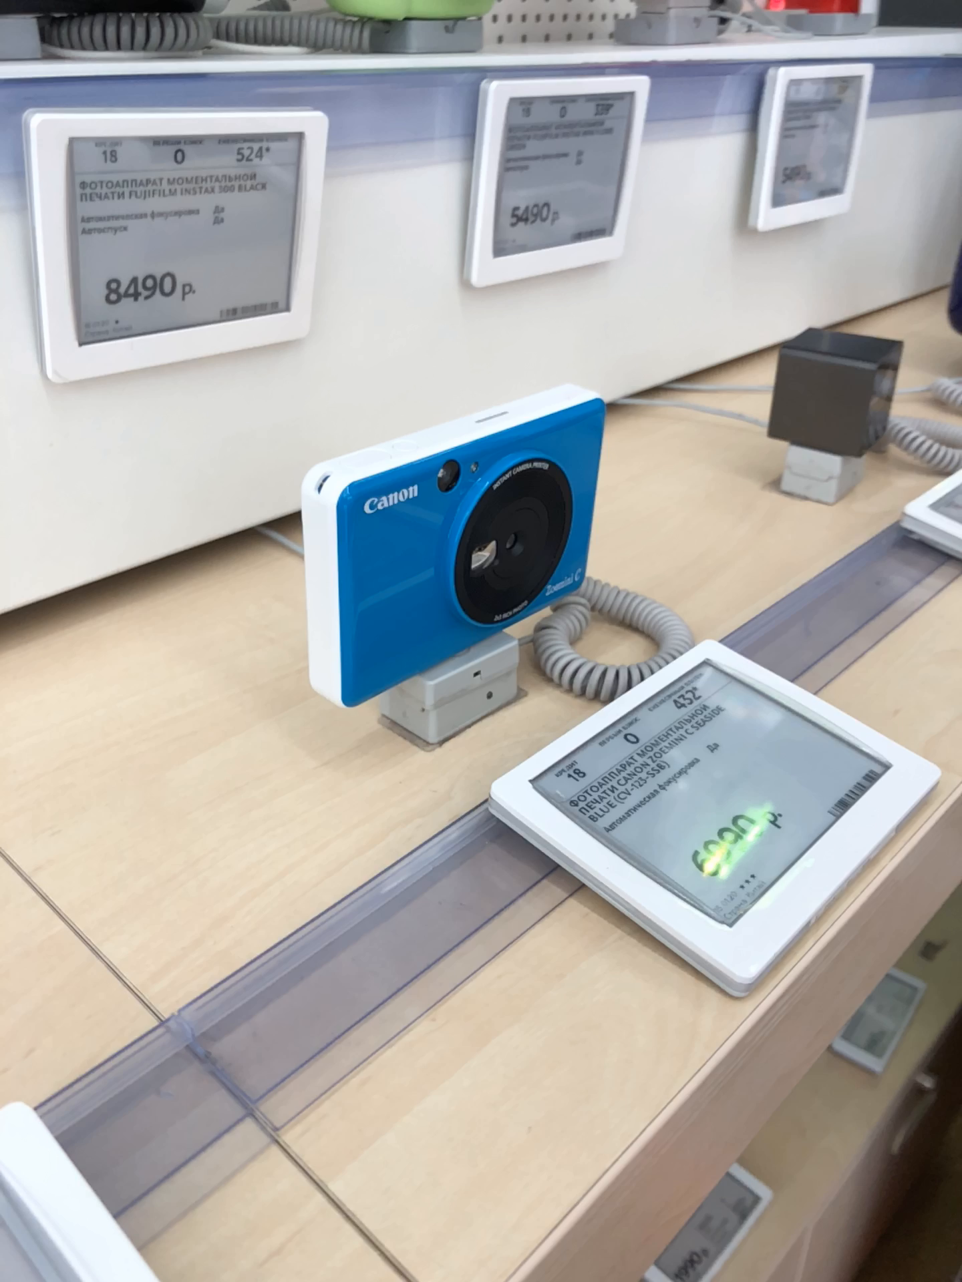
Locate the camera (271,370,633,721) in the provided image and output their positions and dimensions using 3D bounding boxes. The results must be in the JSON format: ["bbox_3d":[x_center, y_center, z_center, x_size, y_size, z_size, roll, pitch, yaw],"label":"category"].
[{"bbox_3d":[-0.005,-0.034,0.334,0.030,0.070,0.120,30,42,34],"label":"camera"}]
